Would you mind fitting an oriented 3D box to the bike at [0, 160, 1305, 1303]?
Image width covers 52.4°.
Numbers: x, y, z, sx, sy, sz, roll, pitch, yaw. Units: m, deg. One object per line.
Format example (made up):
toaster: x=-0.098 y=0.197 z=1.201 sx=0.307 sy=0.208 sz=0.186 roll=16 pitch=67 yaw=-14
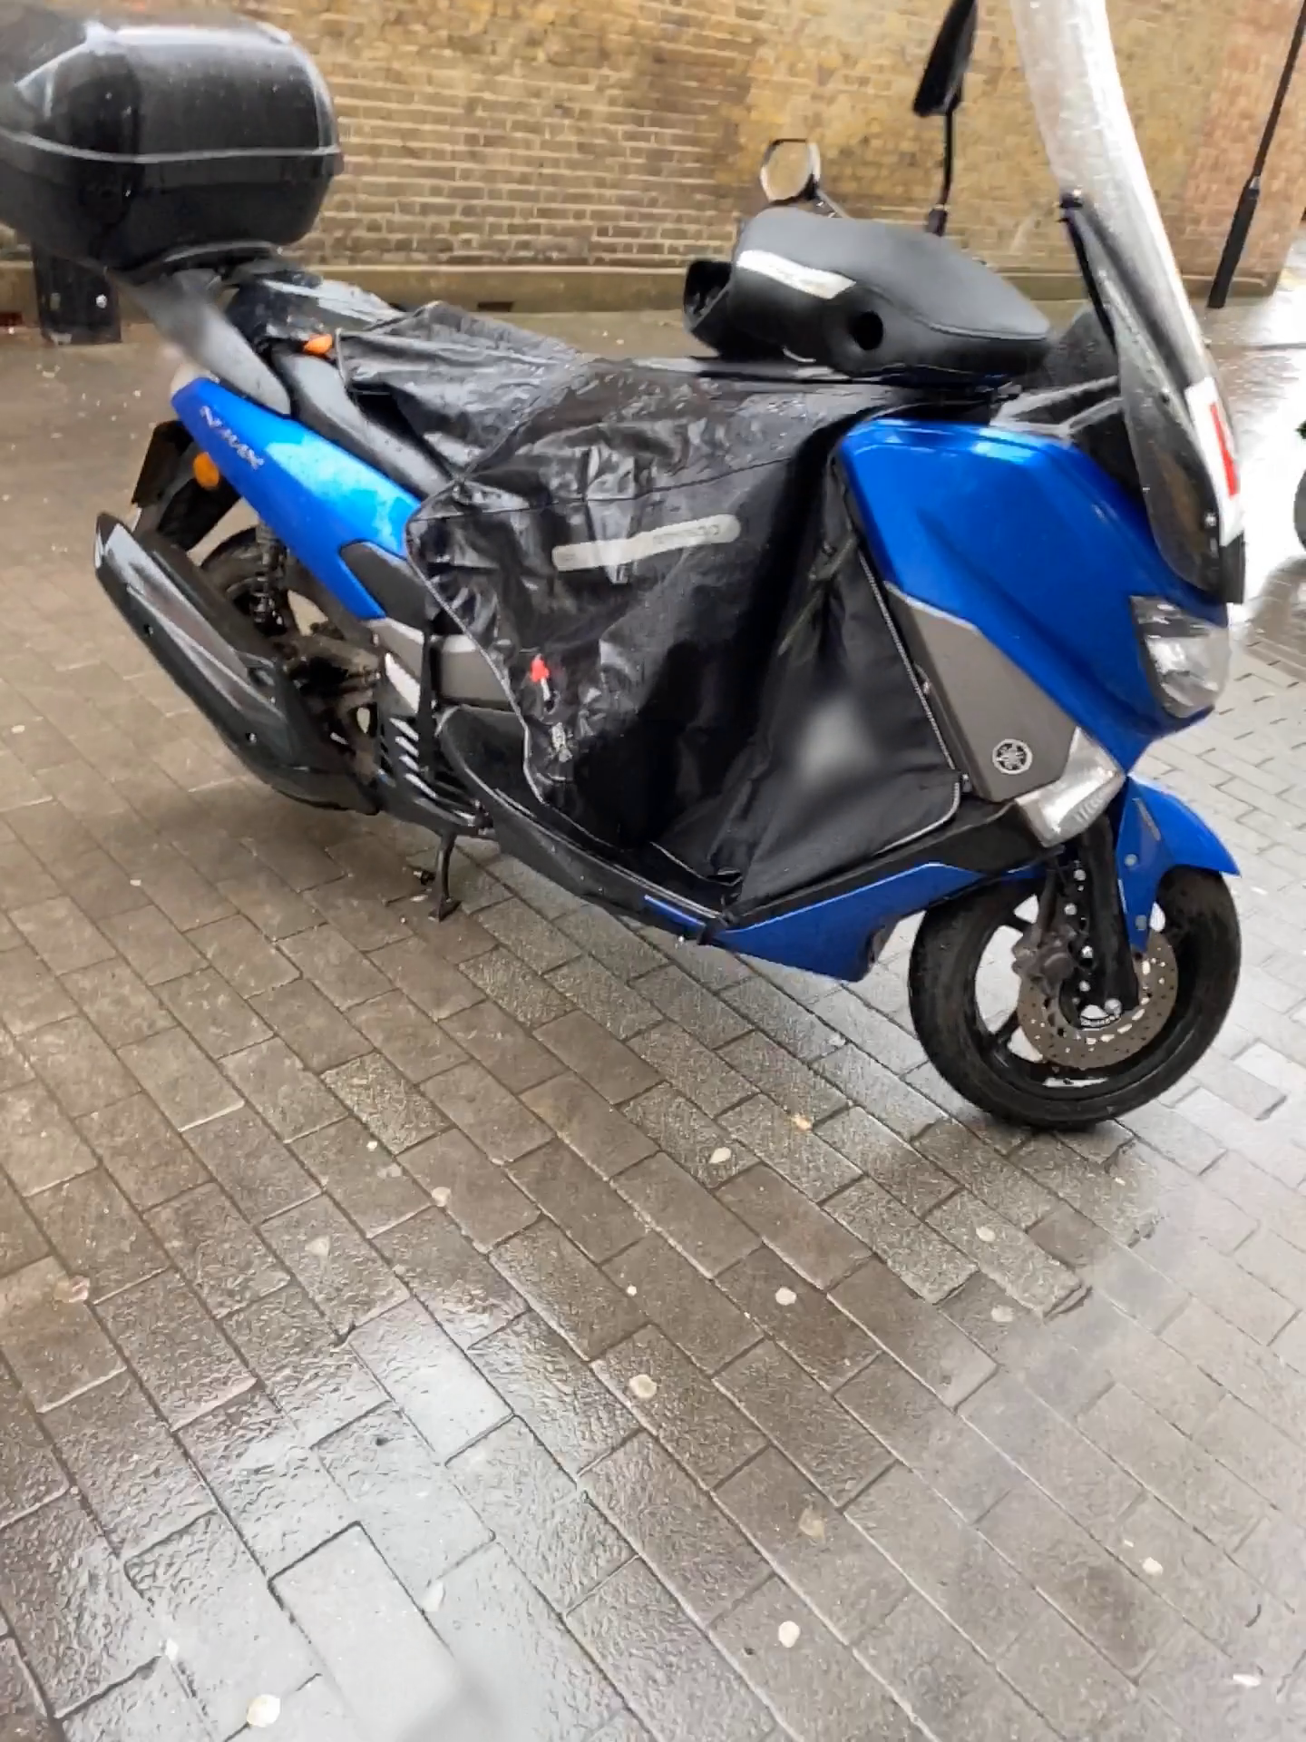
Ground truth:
bike: x=0.005 y=-0.307 z=1.876 sx=1.732 sy=0.998 sz=0.681 roll=18 pitch=32 yaw=17
